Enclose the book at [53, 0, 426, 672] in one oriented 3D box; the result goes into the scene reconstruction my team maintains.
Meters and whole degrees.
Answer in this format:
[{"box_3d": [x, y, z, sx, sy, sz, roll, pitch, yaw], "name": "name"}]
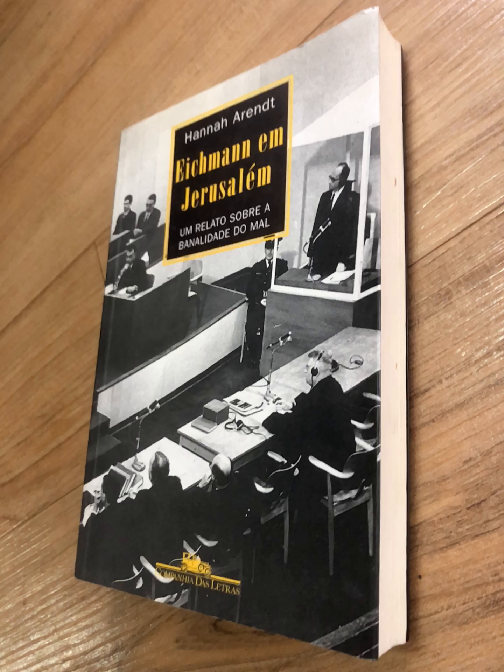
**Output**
[{"box_3d": [-0.011, -0.006, 0.215, 0.145, 0.023, 0.202, -7, 74, 37], "name": "book"}]
